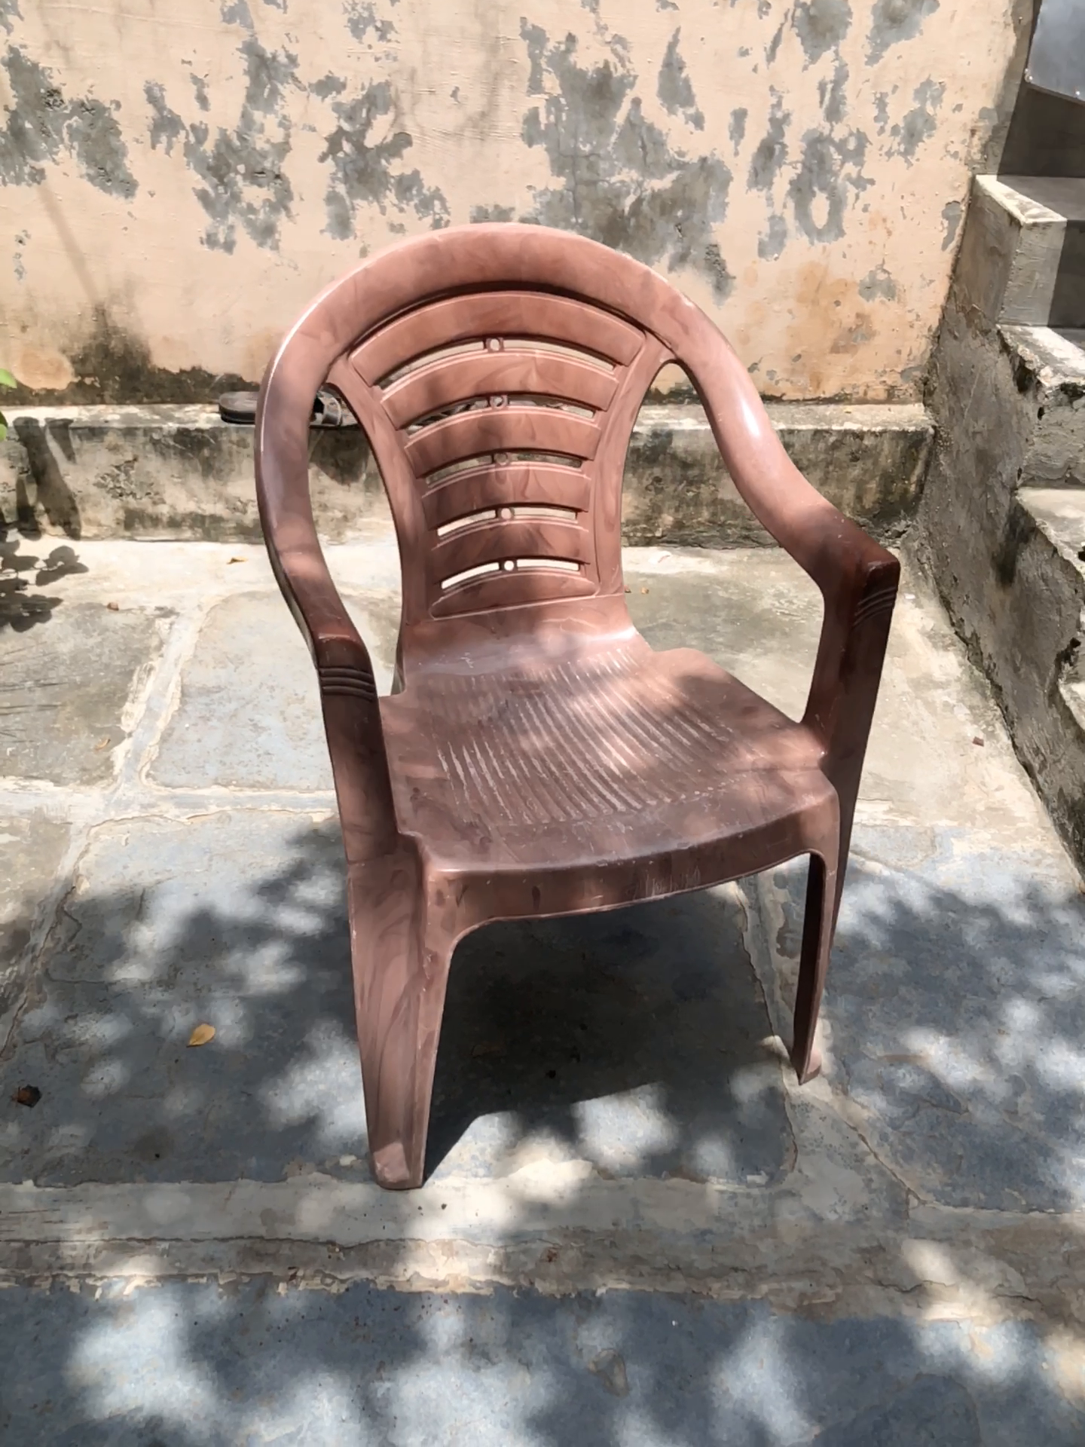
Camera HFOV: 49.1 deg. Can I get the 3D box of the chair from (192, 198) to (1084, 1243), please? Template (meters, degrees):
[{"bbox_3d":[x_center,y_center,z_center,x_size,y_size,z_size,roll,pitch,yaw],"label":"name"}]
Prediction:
[{"bbox_3d":[0.032,-0.029,1.158,0.581,0.766,0.542,-9,38,-17],"label":"chair"}]
